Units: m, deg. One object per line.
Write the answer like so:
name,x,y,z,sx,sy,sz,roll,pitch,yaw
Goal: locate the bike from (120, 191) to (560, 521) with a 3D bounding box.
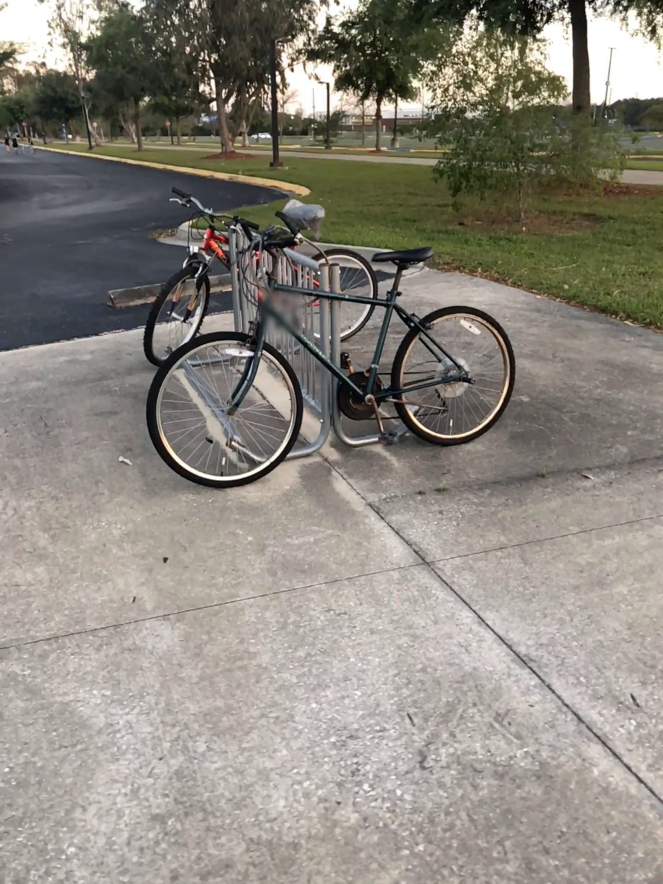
bike,0.060,-0.459,3.170,1.752,1.104,0.586,-10,24,-20
